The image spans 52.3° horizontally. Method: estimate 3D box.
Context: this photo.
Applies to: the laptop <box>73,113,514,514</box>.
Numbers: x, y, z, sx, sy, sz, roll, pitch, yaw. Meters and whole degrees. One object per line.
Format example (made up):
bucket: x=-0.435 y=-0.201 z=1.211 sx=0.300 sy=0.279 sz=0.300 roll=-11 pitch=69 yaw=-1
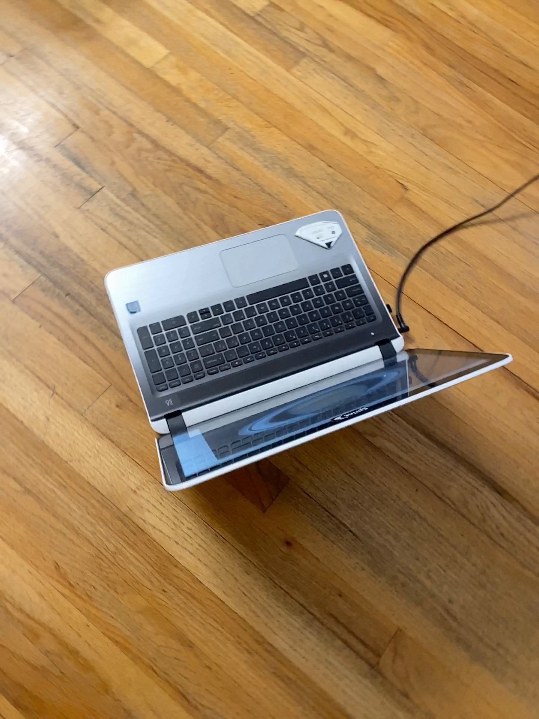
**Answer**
laptop: x=0.009 y=-0.059 z=0.689 sx=0.371 sy=0.202 sz=0.363 roll=-19 pitch=71 yaw=-12
